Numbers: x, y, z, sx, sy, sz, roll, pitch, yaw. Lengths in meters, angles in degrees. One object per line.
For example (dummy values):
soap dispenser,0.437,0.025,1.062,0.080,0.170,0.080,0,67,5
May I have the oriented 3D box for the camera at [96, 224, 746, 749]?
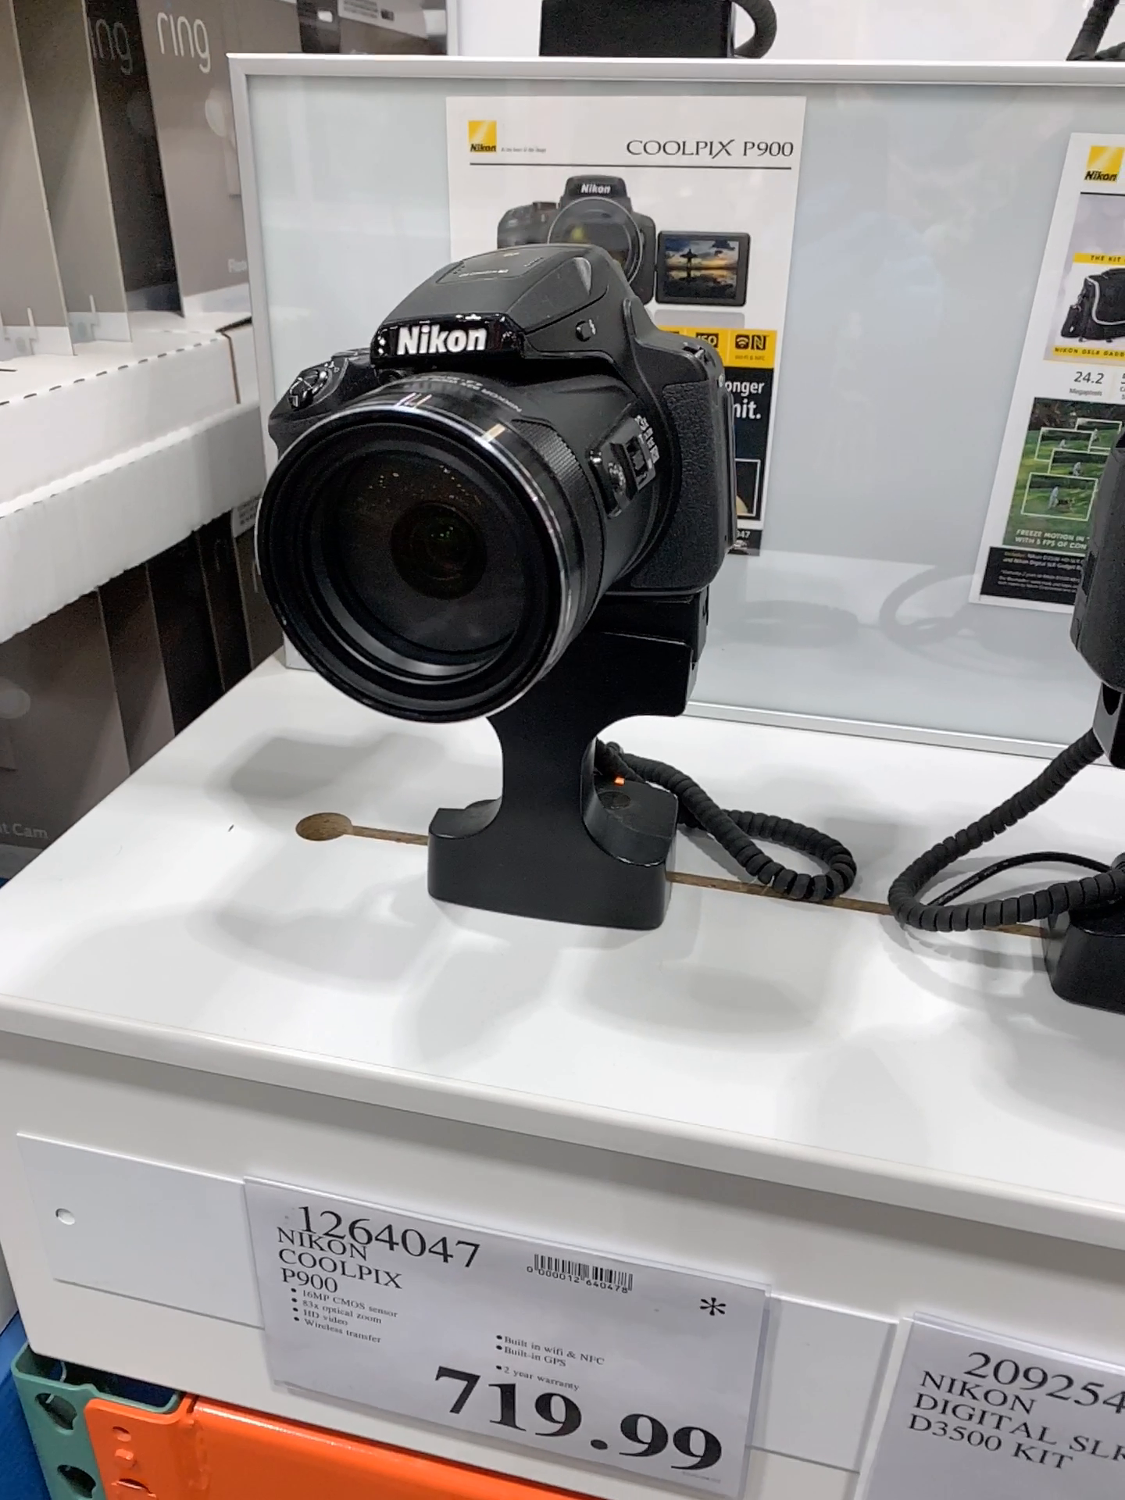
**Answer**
camera,-0.023,-0.088,0.341,0.130,0.109,0.151,5,27,16
